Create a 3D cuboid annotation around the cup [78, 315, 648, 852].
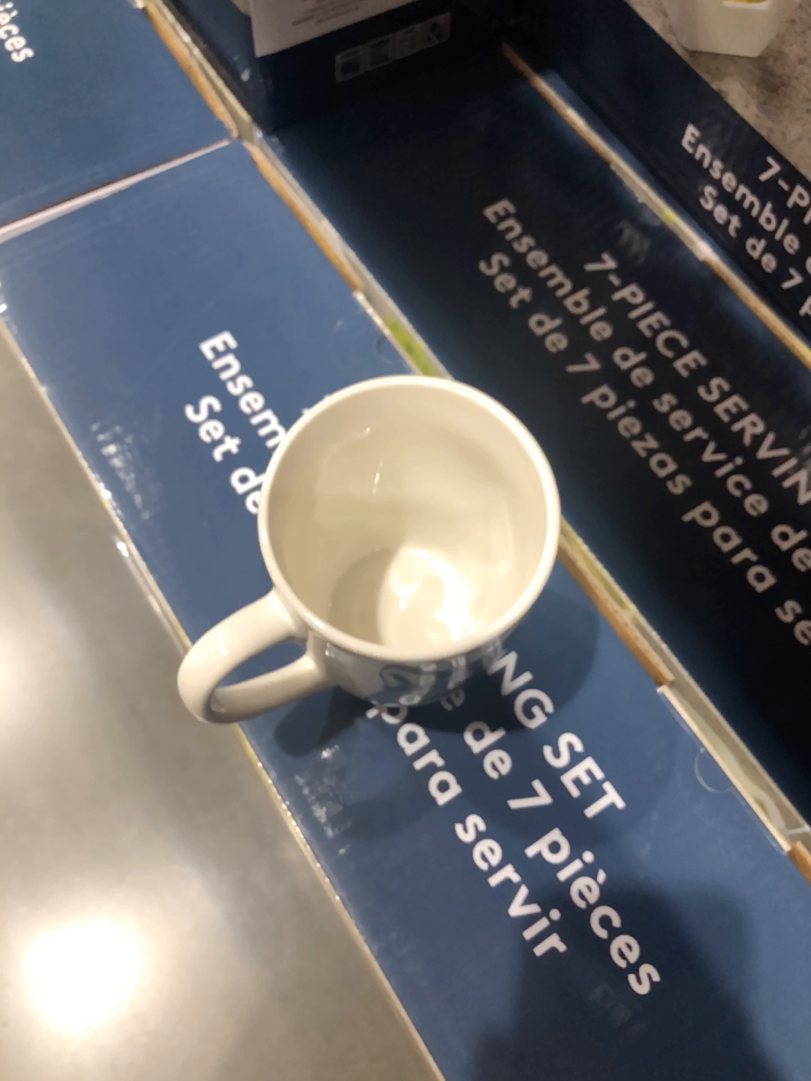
[{"bbox_3d":[-0.013,0.018,0.299,0.128,0.102,0.093,-32,70,-16],"label":"cup"}]
